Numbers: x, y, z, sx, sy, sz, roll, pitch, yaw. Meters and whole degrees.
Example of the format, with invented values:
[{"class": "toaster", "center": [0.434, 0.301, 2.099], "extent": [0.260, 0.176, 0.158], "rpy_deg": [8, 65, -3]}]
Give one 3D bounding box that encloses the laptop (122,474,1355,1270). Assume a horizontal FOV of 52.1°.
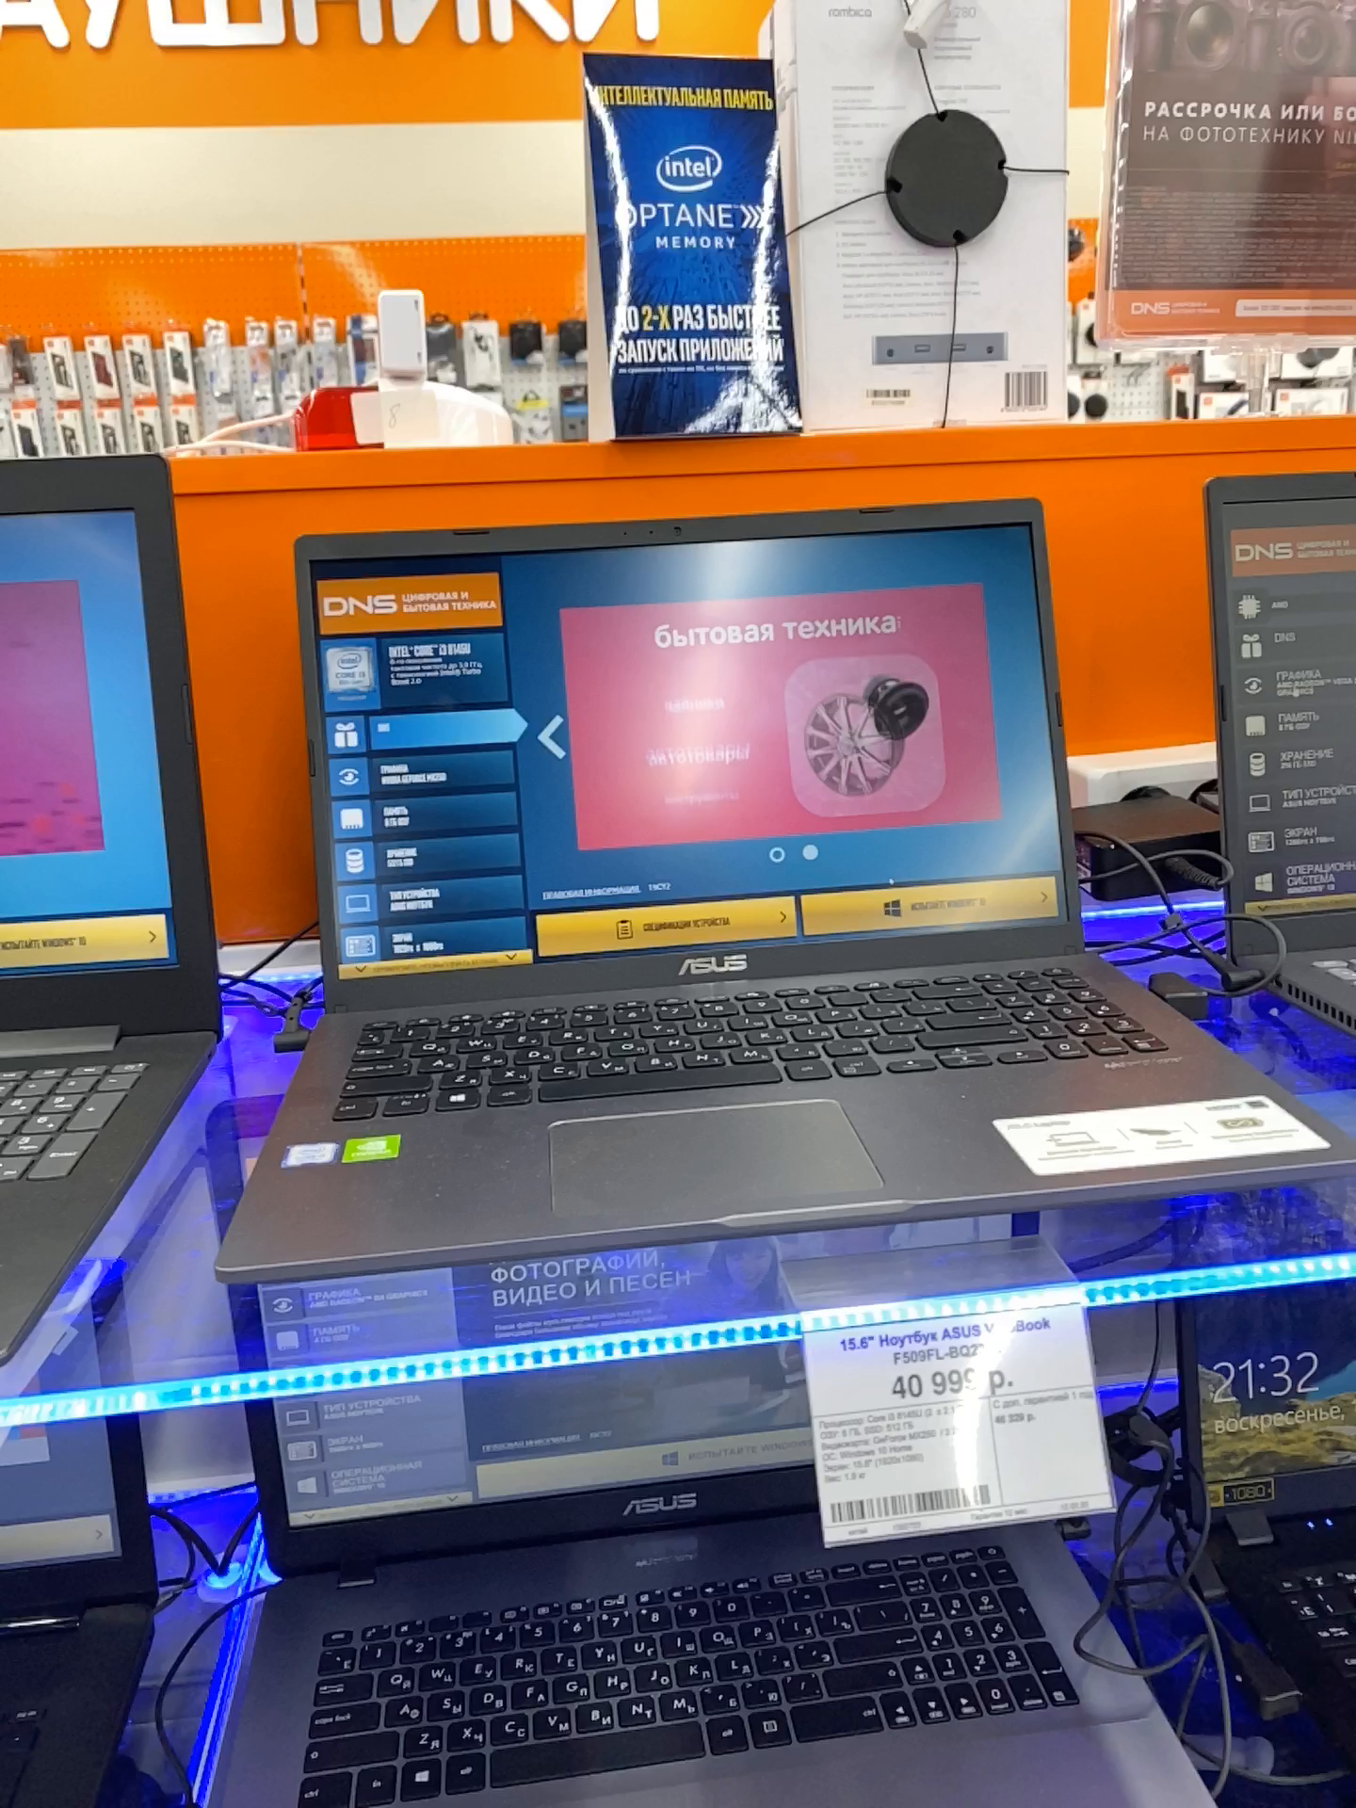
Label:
[{"class": "laptop", "center": [0.022, -0.046, 0.547], "extent": [0.357, 0.211, 0.307], "rpy_deg": [-4, 14, -5]}]
